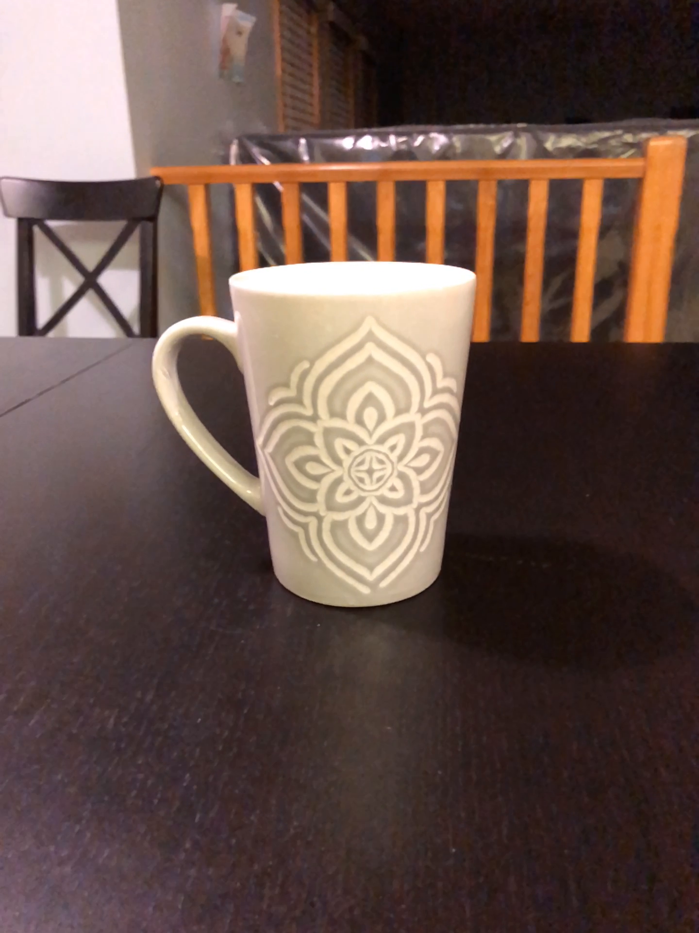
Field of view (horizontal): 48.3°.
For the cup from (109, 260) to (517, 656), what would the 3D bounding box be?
[{"bbox_3d":[-0.007,-0.011,0.314,0.130,0.129,0.100,1,19,6],"label":"cup"}]
